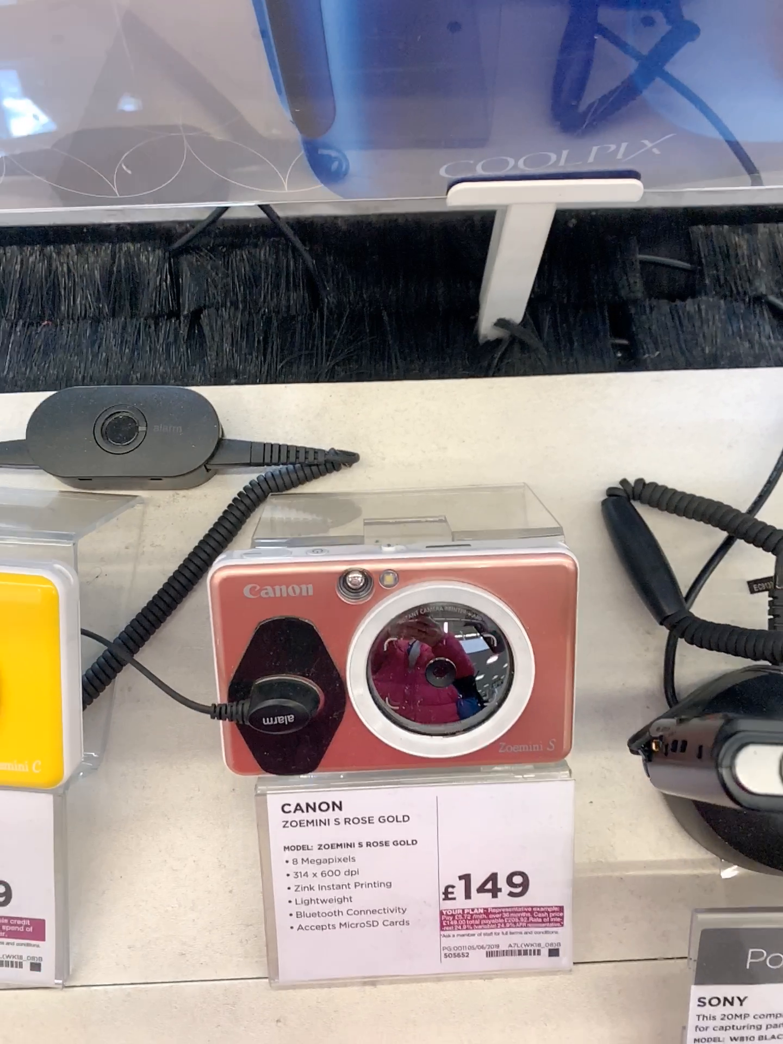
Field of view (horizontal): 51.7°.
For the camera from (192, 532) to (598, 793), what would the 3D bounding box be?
[{"bbox_3d":[0.002,0.048,0.276,0.129,0.020,0.083,-2,105,-1],"label":"camera"}]
